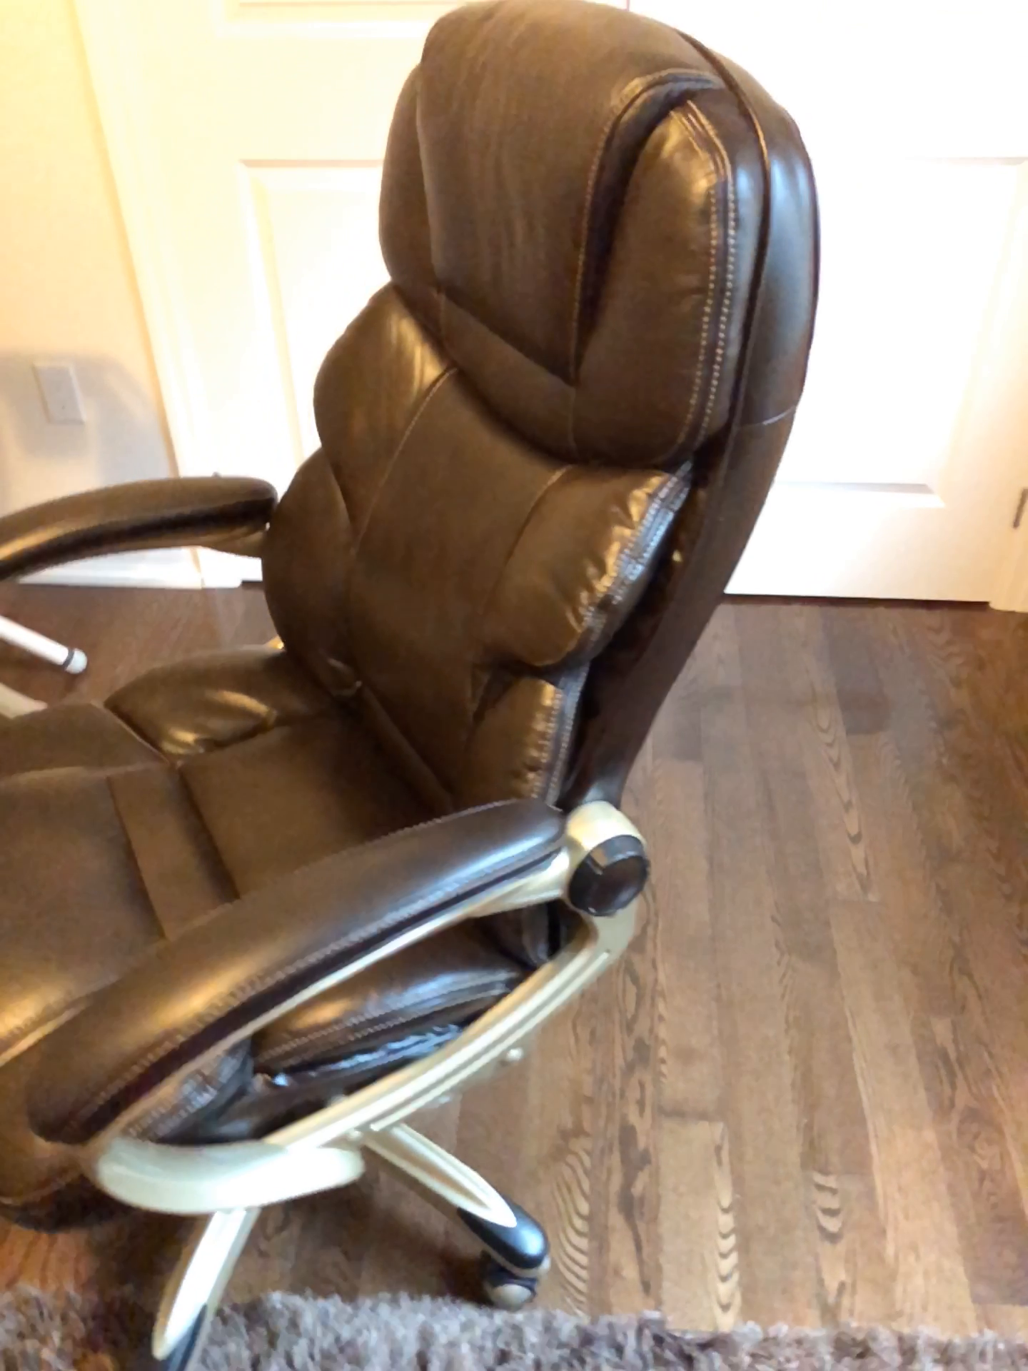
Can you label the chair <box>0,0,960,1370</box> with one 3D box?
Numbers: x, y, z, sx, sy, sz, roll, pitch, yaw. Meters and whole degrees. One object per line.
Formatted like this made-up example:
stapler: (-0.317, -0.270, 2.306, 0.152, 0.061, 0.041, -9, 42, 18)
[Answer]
chair: (-0.273, 0.057, 1.017, 0.740, 1.135, 0.733, -17, 40, -19)
